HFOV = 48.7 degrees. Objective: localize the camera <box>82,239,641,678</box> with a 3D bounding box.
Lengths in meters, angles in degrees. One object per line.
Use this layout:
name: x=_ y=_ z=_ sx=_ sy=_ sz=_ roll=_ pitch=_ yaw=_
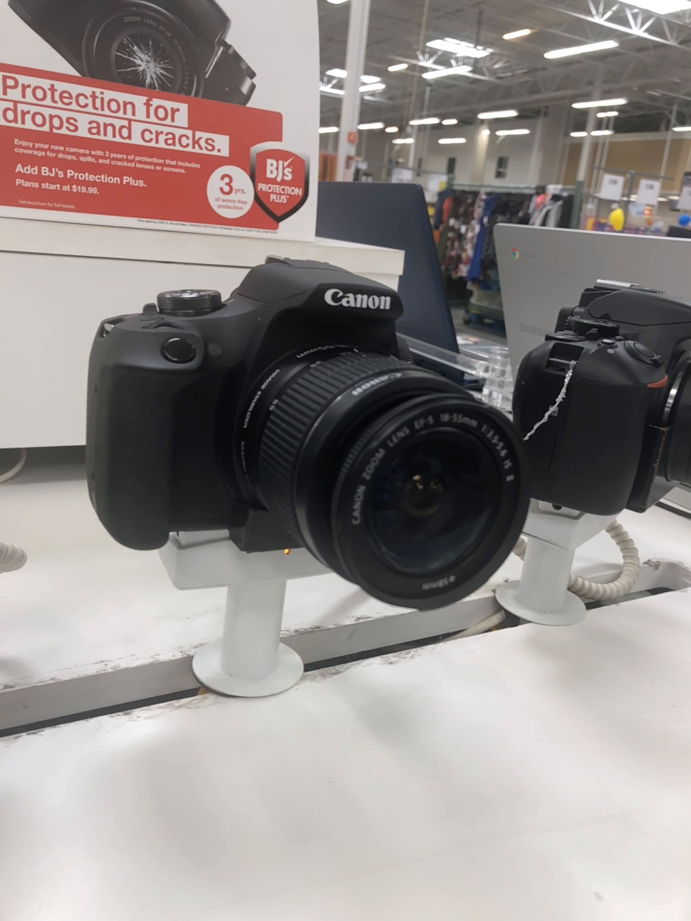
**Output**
camera: x=-0.007 y=-0.017 z=0.257 sx=0.130 sy=0.092 sz=0.132 roll=-4 pitch=20 yaw=-30
